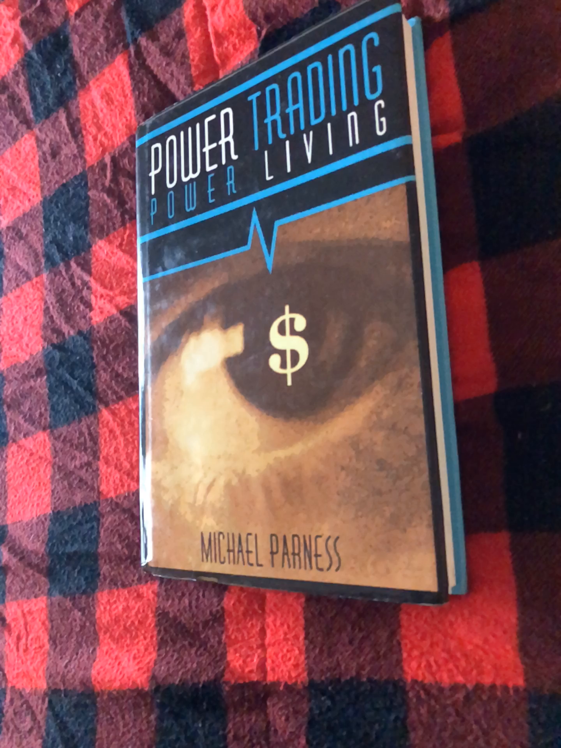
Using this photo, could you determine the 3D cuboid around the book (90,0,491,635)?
[{"bbox_3d":[-0.011,-0.026,0.273,0.171,0.040,0.240,-8,82,35],"label":"book"}]
